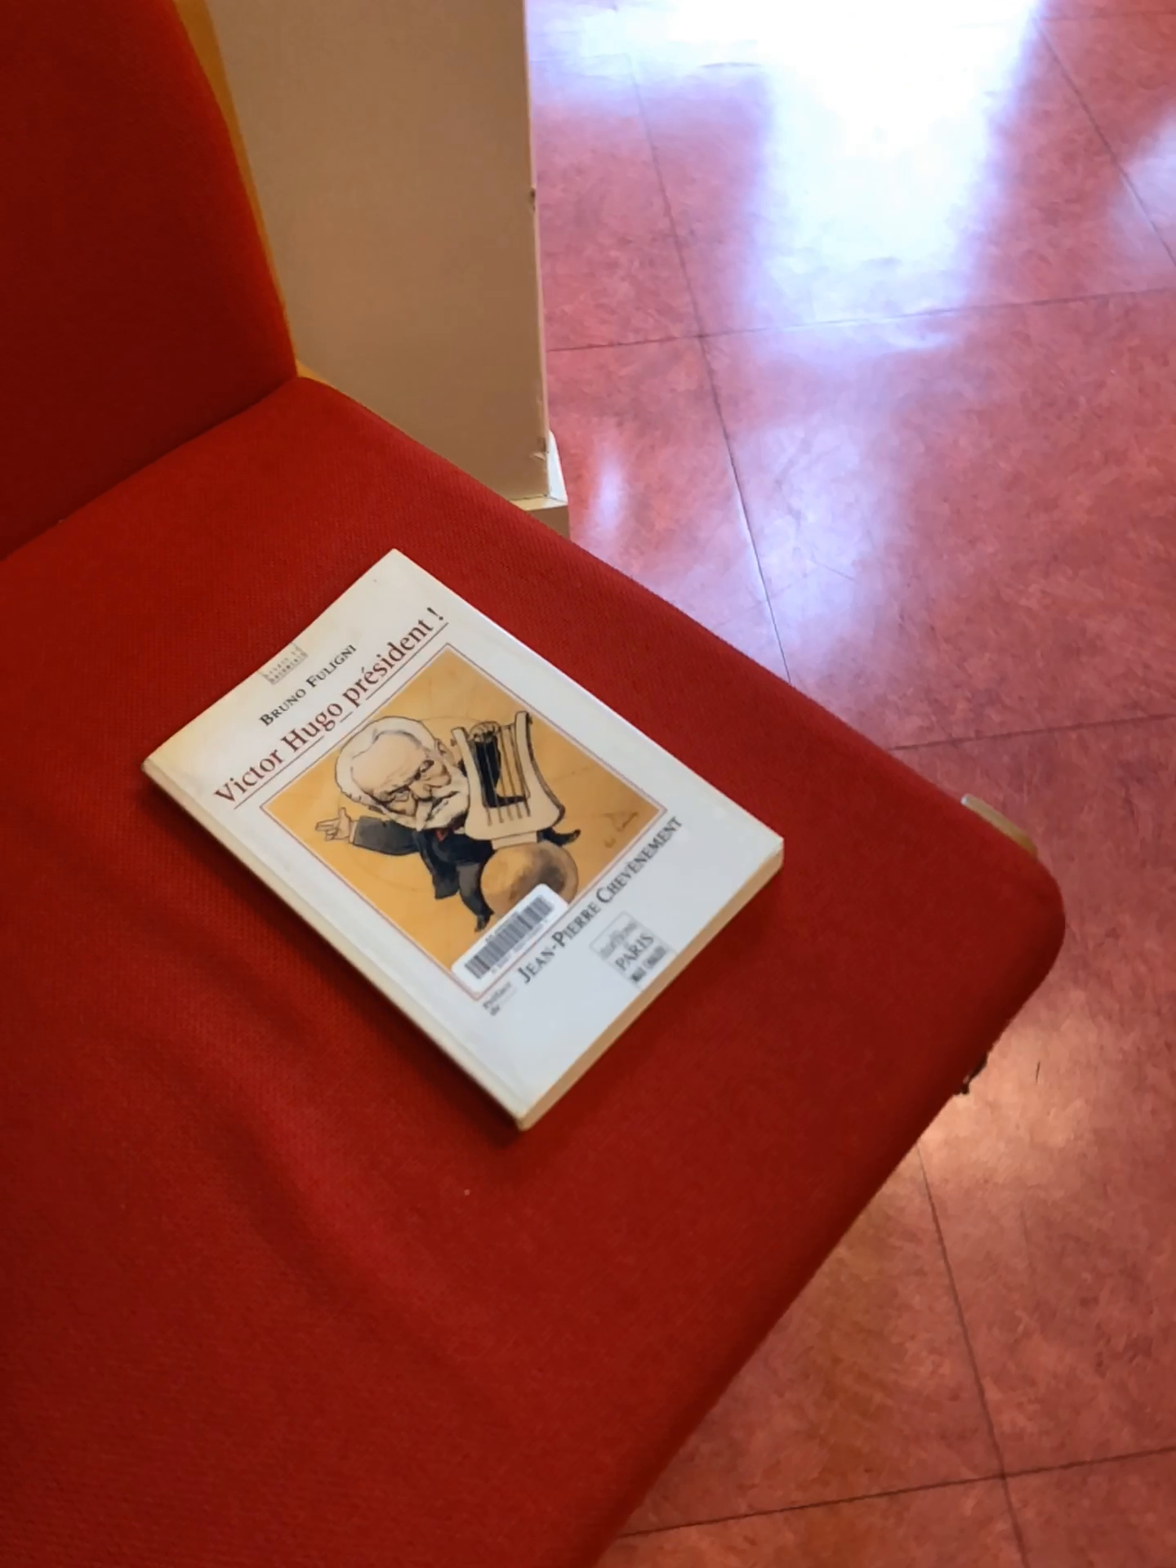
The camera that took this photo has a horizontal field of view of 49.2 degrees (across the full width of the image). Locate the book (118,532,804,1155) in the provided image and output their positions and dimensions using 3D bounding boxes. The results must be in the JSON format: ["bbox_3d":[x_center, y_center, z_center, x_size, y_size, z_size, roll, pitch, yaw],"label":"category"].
[{"bbox_3d":[-0.054,0.011,0.530,0.236,0.040,0.151,38,66,21],"label":"book"}]
